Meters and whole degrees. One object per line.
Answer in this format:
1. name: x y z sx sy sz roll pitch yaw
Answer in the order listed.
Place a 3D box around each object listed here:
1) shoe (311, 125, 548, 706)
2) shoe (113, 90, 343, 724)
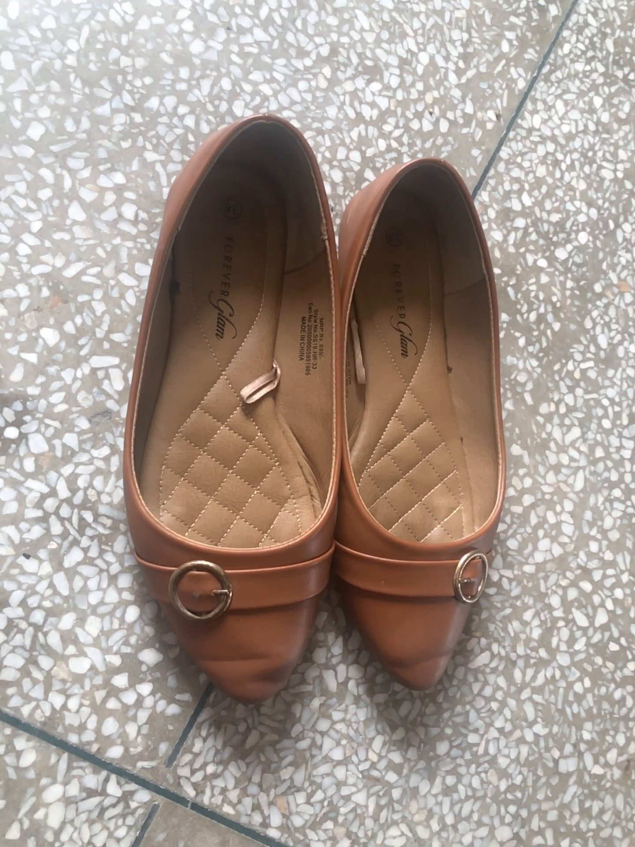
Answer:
1. shoe: 0.049 -0.001 0.338 0.090 0.050 0.250 0 96 -14
2. shoe: -0.042 -0.004 0.313 0.090 0.050 0.250 0 96 -14
